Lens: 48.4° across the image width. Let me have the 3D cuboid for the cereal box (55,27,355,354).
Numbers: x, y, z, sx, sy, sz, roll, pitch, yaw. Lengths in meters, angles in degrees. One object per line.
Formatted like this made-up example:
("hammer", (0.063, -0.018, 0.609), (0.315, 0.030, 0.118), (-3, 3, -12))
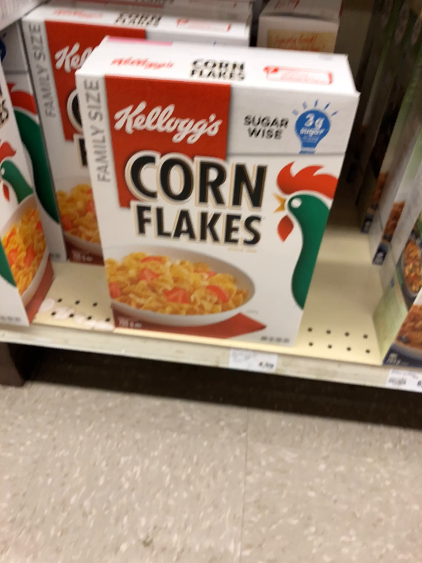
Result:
("cereal box", (-0.012, -0.082, 0.588), (0.270, 0.387, 0.101), (5, 43, 1))
